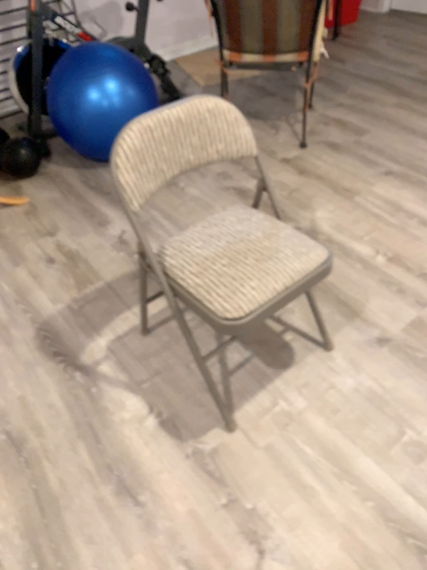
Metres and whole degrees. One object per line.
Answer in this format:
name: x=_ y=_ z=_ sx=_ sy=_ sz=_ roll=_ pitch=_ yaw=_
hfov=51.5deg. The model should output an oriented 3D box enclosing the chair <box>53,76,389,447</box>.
chair: x=0.016 y=-0.078 z=1.251 sx=0.503 sy=0.708 sz=0.587 roll=-33 pitch=51 yaw=-26
